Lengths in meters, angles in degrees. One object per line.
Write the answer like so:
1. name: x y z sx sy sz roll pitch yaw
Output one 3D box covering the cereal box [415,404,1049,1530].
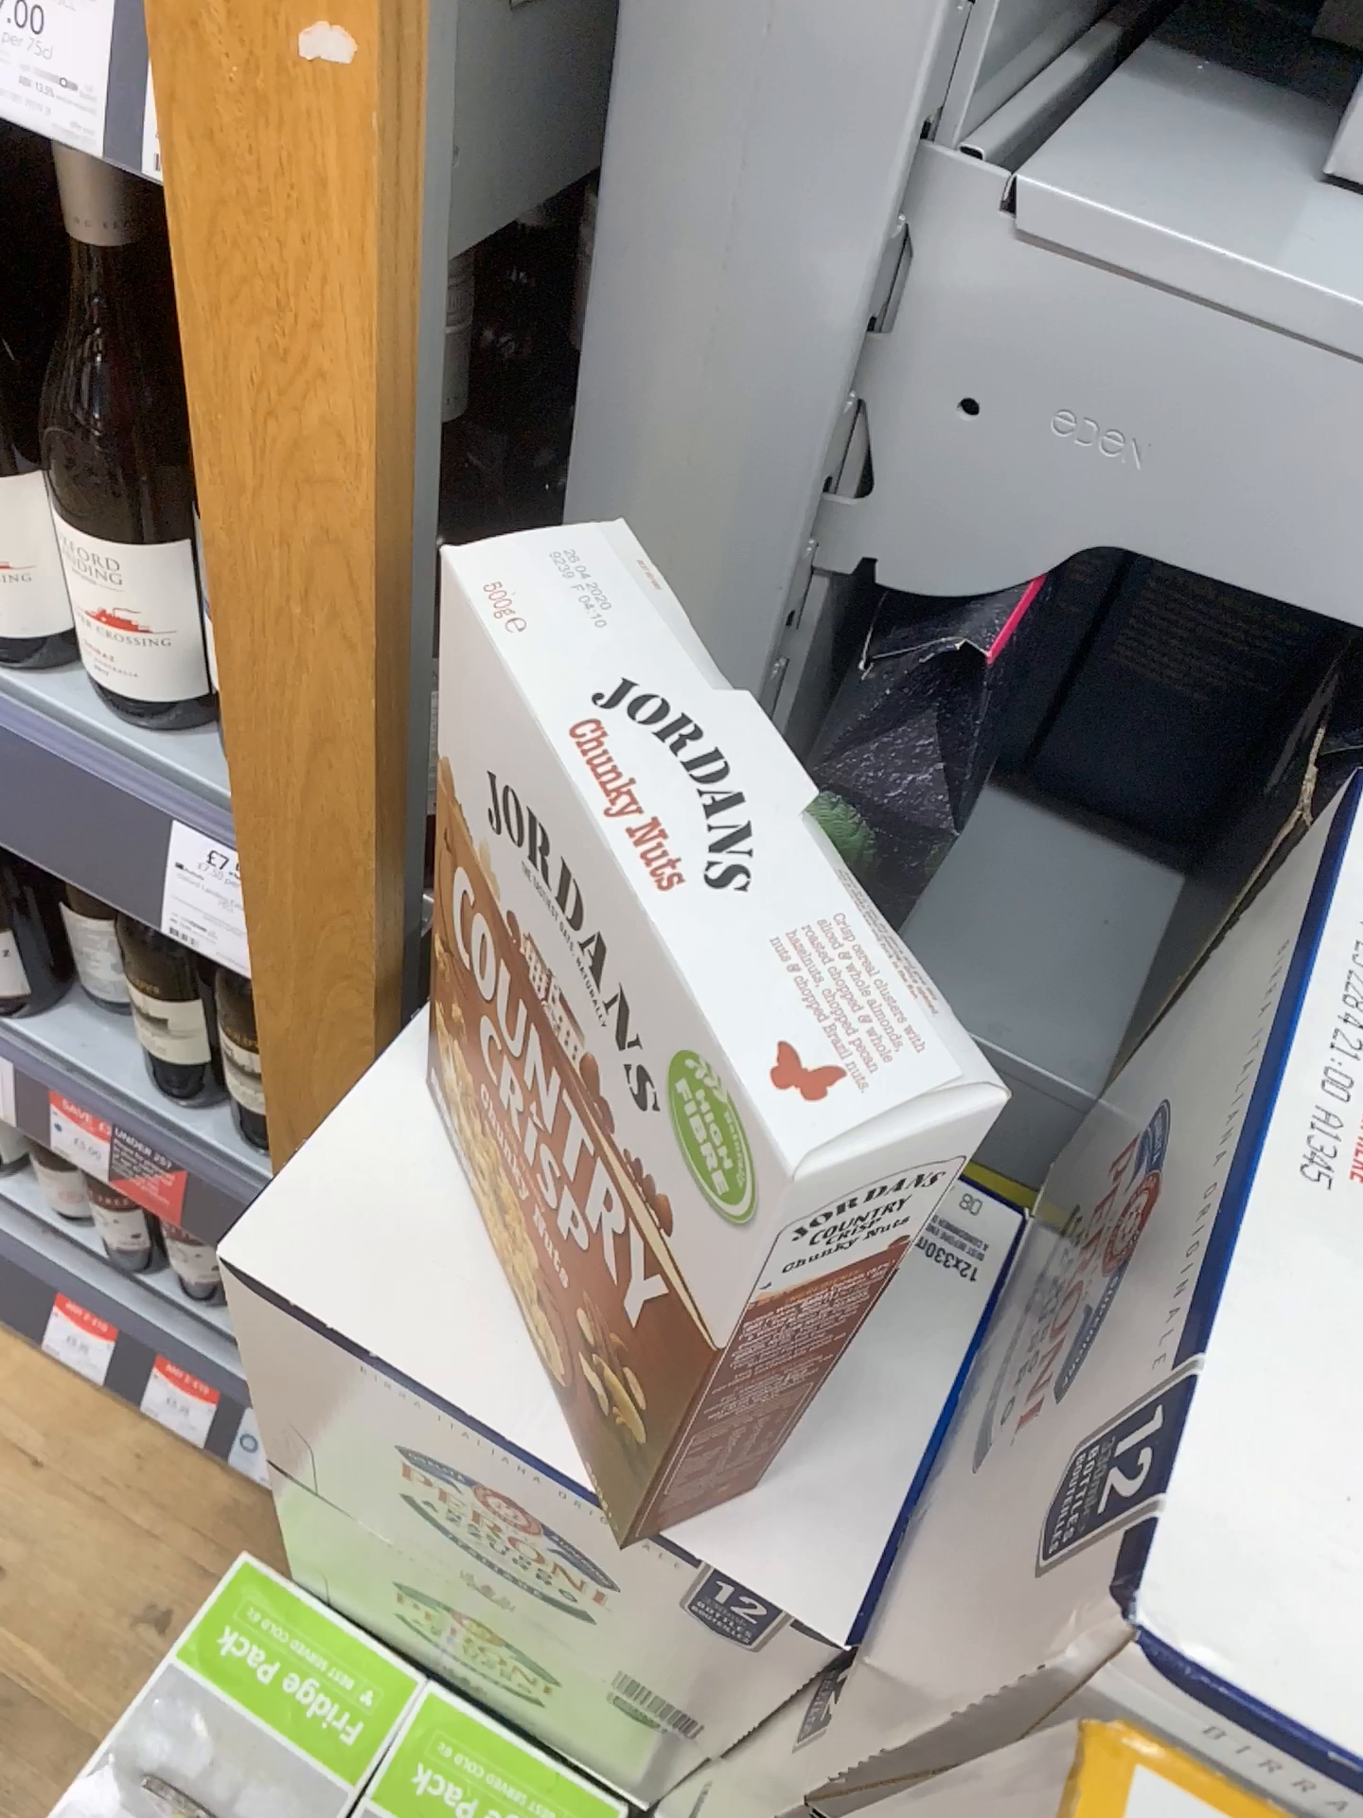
1. cereal box: -0.017 0.032 0.388 0.050 0.258 0.191 -15 56 -22
